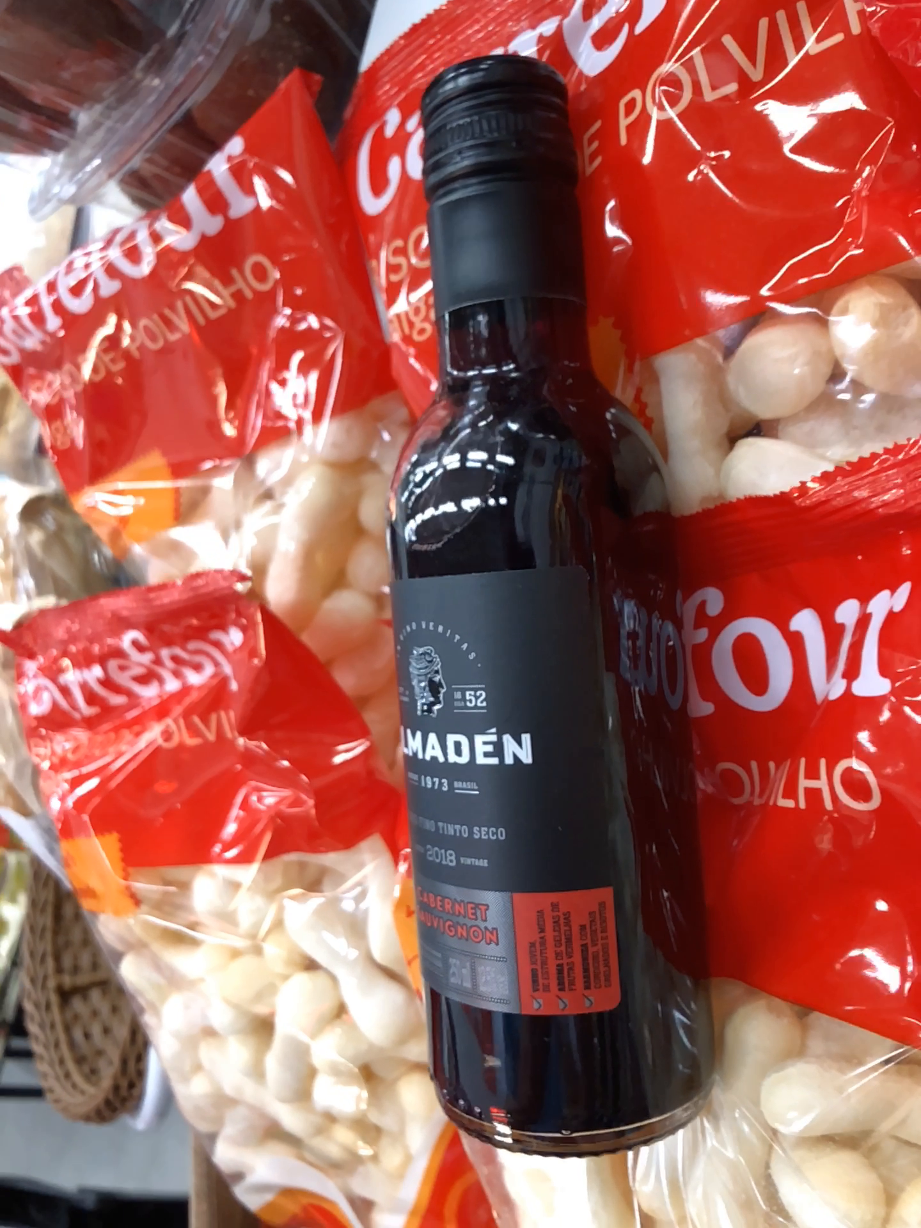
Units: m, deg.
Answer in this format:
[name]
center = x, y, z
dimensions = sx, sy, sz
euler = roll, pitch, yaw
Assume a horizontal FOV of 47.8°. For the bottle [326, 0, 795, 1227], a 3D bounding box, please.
[bottle]
center = 0.016, -0.011, 0.189
dimensions = 0.060, 0.050, 0.200
euler = -3, 88, 48
